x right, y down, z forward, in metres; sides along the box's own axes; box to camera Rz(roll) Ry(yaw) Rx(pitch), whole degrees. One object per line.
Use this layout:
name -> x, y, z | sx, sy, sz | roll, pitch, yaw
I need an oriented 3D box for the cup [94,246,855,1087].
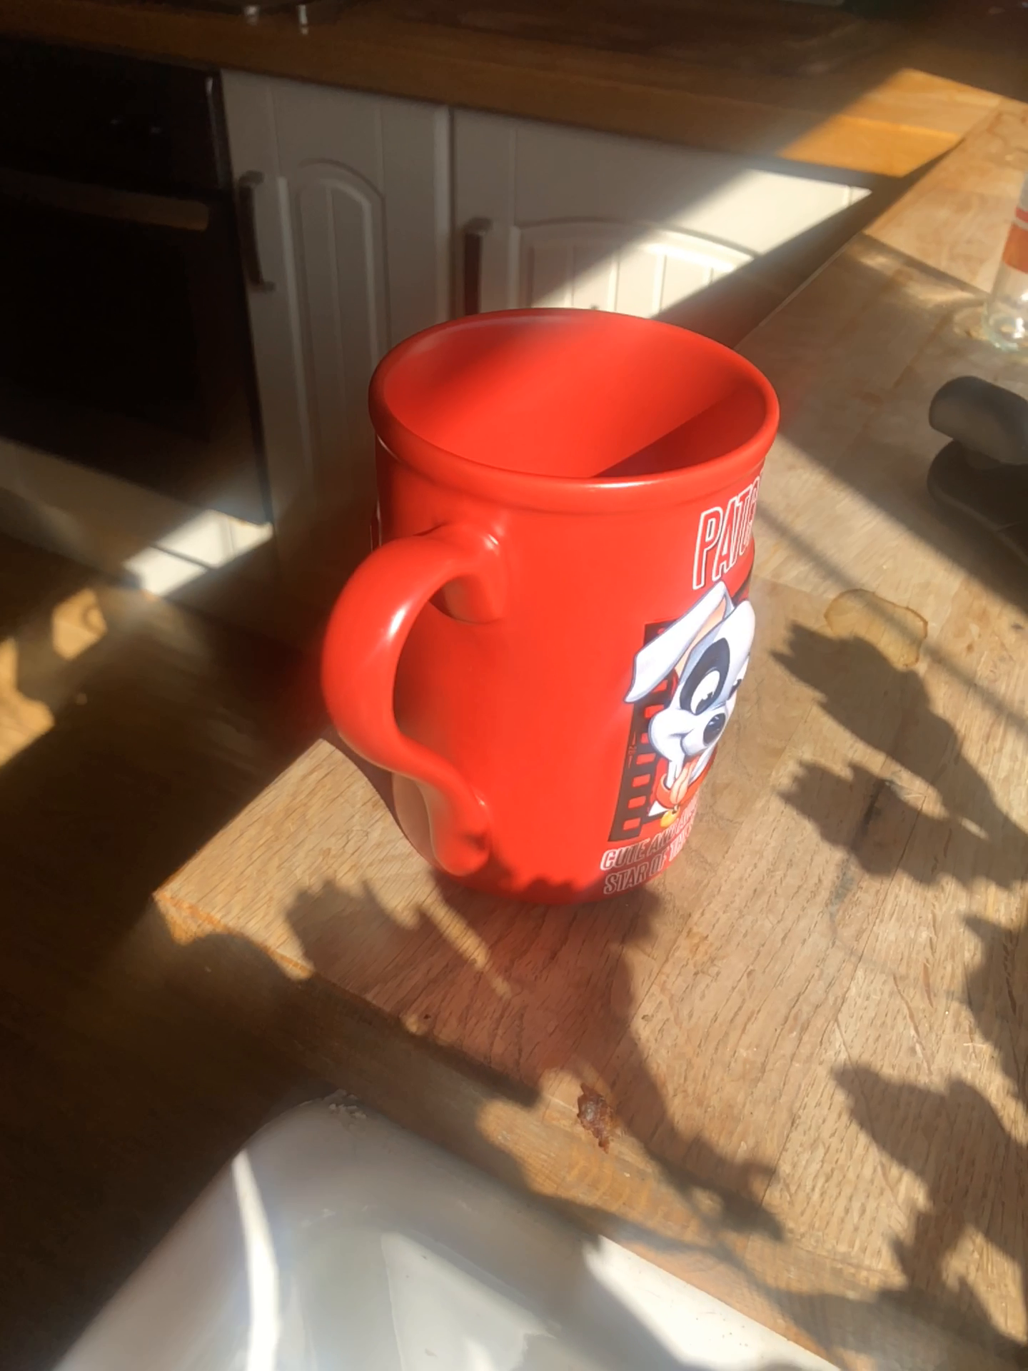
cup -> -0.002, -0.013, 0.265 | 0.095, 0.119, 0.132 | 23, 44, 22
